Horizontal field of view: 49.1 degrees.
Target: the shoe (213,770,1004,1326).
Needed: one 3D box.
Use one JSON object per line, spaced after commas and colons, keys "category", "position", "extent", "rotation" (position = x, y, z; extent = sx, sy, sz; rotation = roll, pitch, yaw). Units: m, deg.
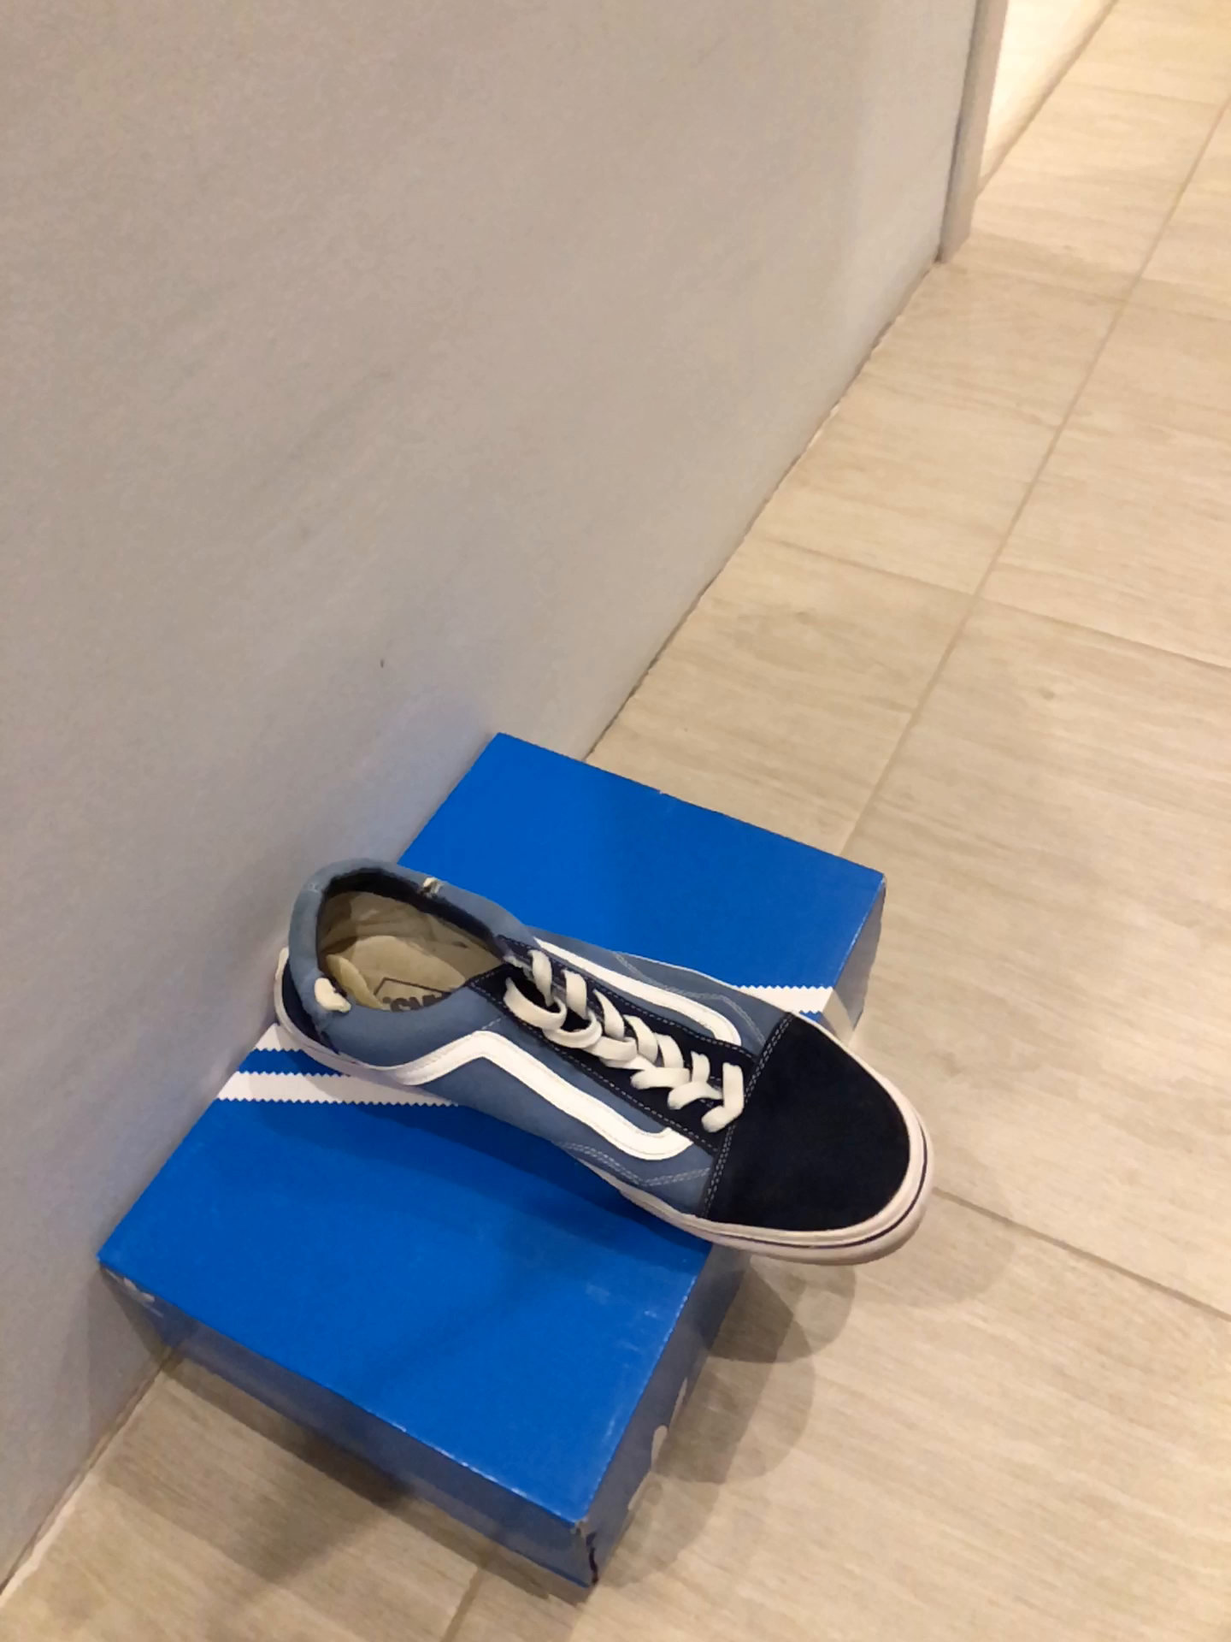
{"category": "shoe", "position": [-0.003, 0.082, 0.541], "extent": [0.280, 0.079, 0.111], "rotation": [17, 52, 17]}
